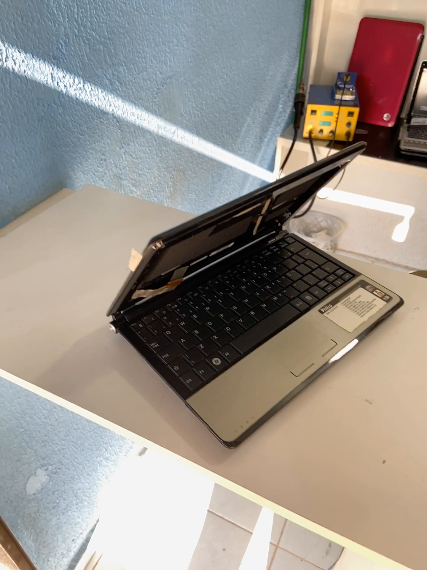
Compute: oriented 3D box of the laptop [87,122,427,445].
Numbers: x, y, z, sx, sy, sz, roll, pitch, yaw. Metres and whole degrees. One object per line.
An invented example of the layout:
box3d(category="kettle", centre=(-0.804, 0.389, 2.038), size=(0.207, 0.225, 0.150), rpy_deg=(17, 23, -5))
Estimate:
box3d(category="laptop", centre=(0.056, -0.028, 0.435), size=(0.276, 0.144, 0.177), rpy_deg=(-29, 50, -31))
